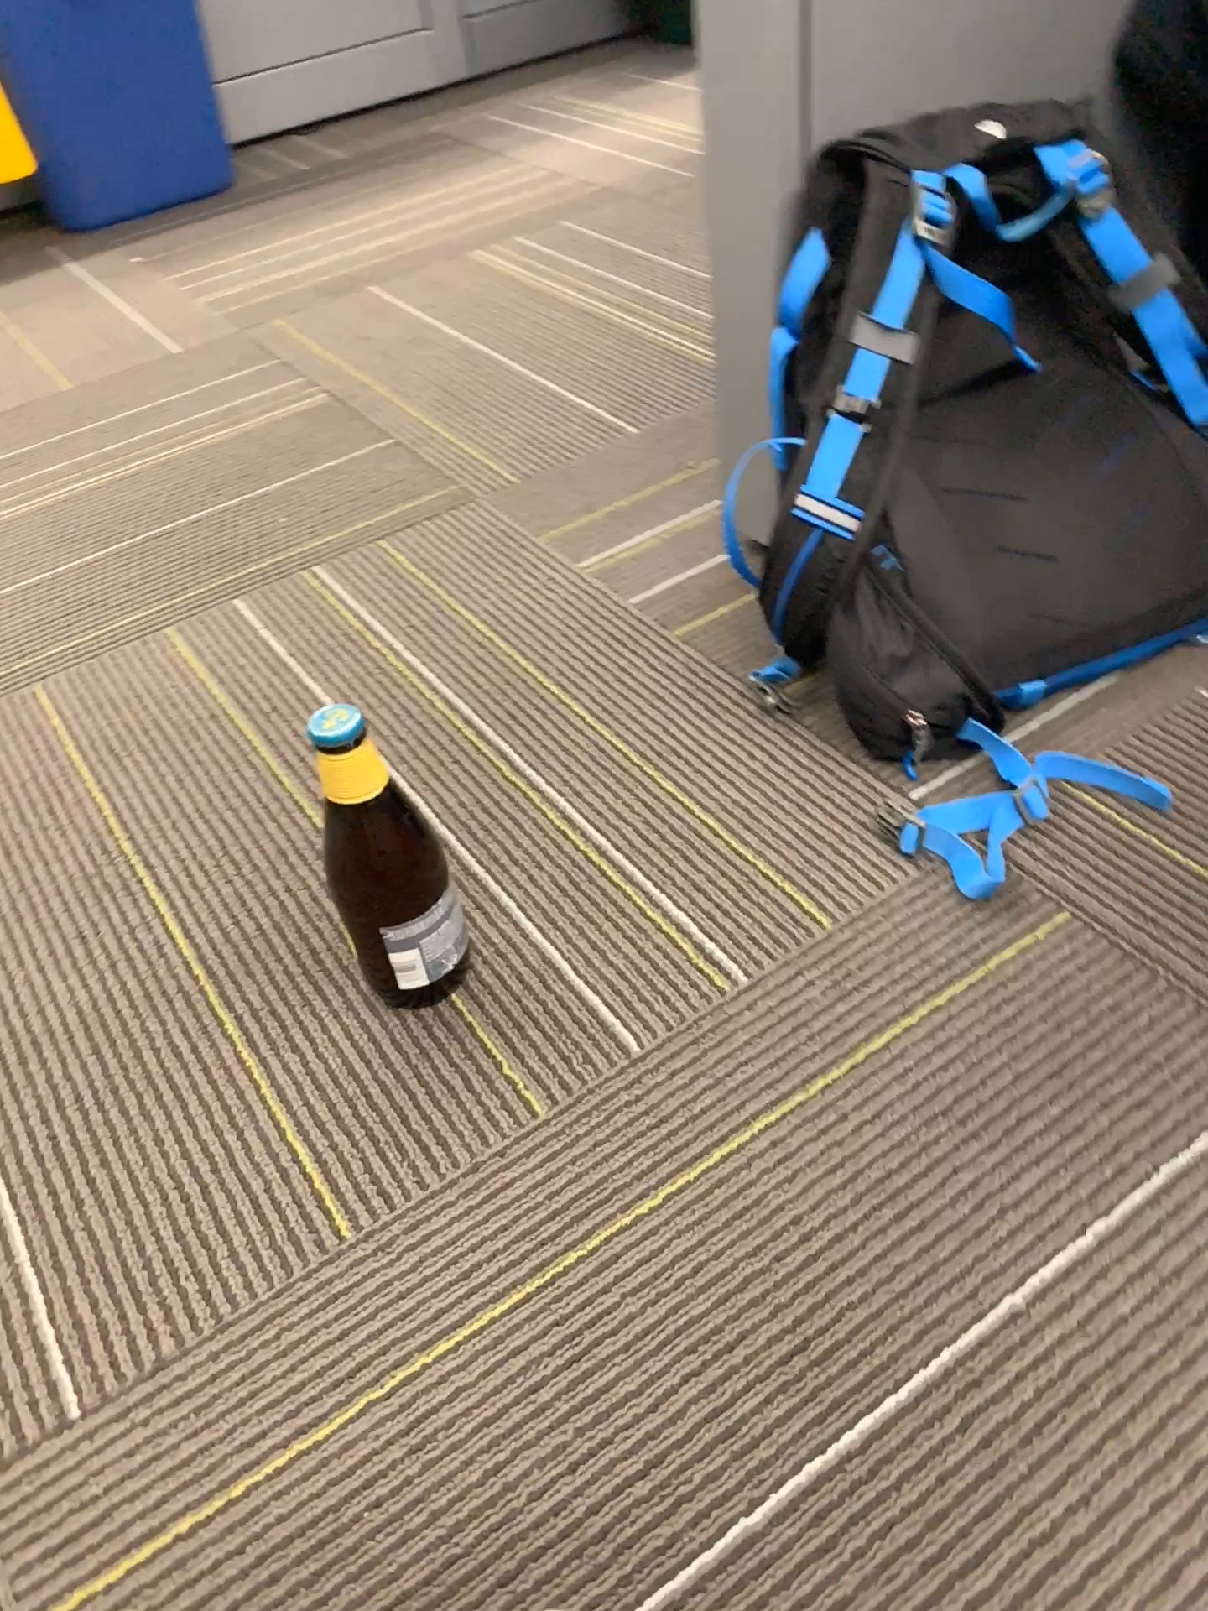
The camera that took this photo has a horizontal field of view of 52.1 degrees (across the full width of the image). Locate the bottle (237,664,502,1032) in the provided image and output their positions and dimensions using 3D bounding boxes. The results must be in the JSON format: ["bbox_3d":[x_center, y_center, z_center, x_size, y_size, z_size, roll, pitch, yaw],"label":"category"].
[{"bbox_3d":[-0.118,0.026,0.657,0.070,0.179,0.070,-5,42,4],"label":"bottle"}]
